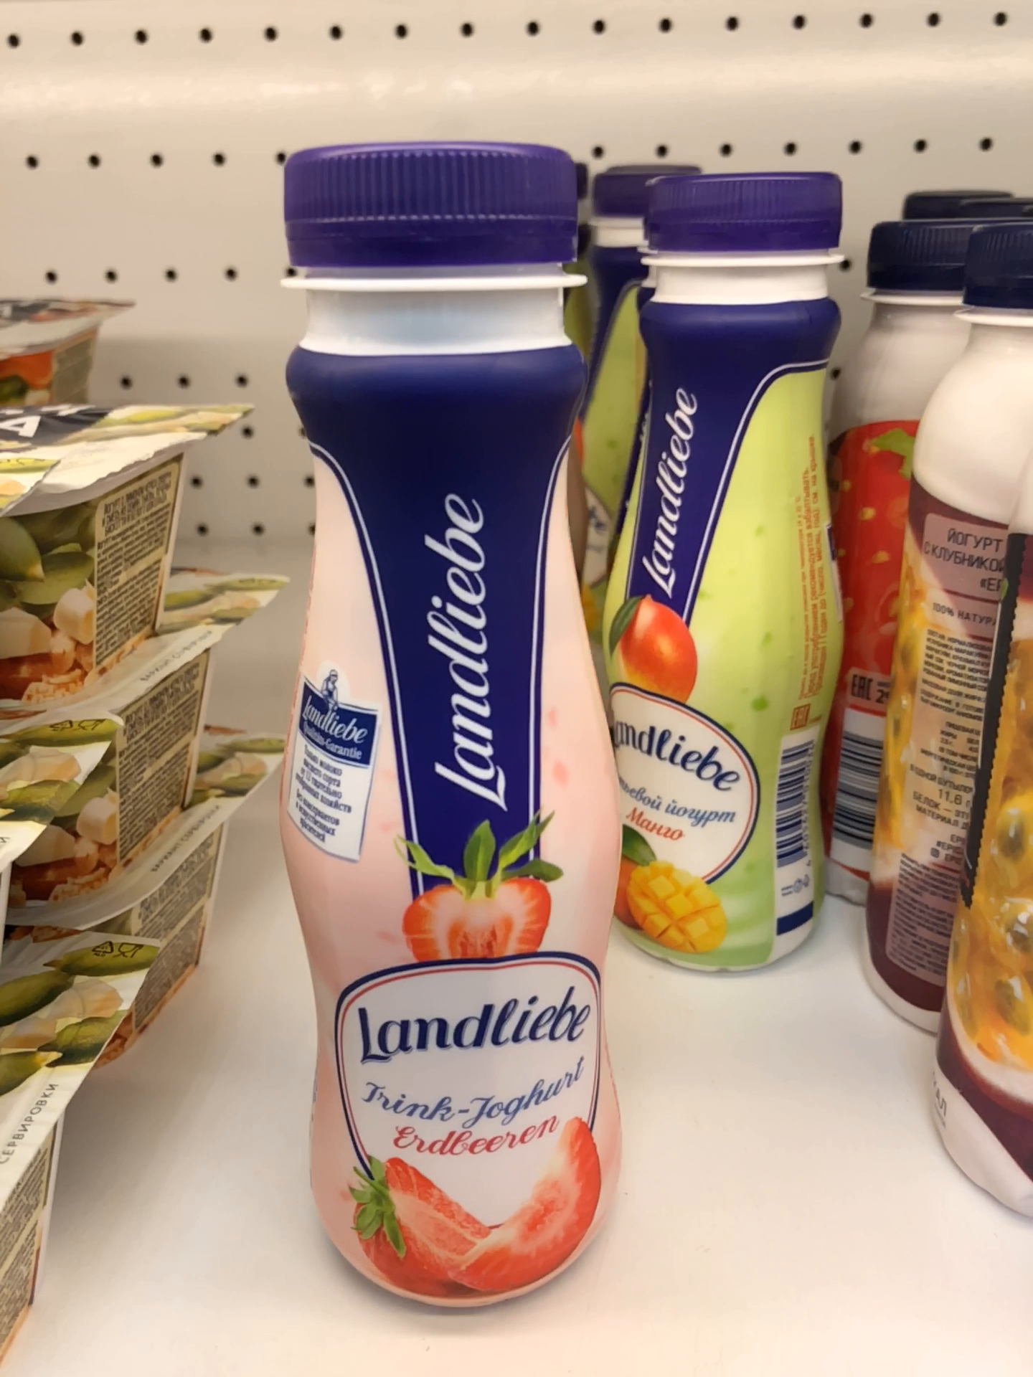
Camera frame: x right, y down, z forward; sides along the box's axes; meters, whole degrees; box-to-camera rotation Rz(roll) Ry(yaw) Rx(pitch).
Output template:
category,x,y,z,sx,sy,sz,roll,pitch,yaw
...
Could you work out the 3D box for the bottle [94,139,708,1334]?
category,x,y,z,sx,sy,sz,roll,pitch,yaw
bottle,-0.011,0.012,0.199,0.070,0.189,0.070,-1,22,0
